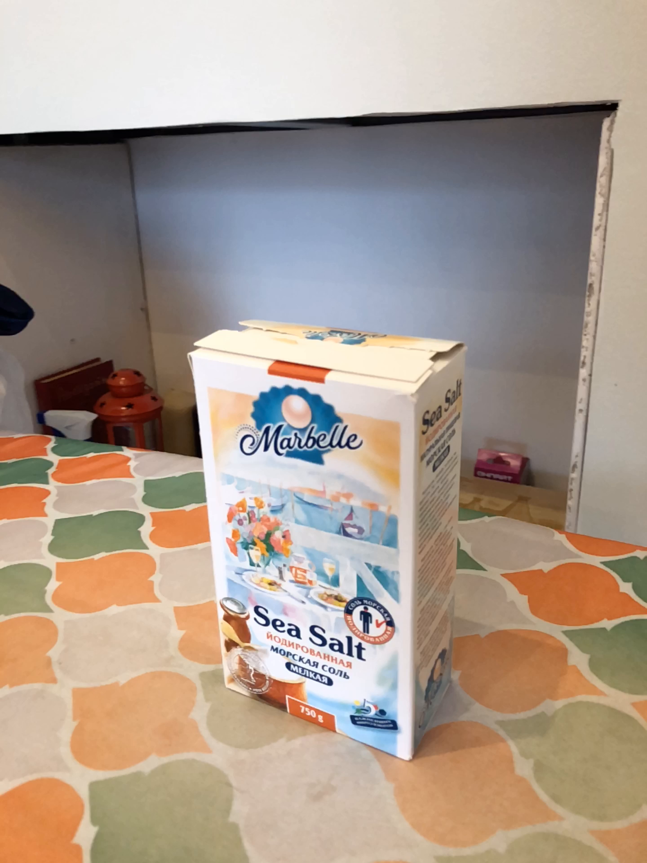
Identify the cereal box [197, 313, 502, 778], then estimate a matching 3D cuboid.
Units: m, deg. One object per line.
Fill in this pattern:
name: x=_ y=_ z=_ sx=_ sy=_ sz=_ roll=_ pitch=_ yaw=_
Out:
cereal box: x=0.013 y=0.044 z=0.305 sx=0.100 sy=0.169 sz=0.060 roll=11 pitch=27 yaw=27
